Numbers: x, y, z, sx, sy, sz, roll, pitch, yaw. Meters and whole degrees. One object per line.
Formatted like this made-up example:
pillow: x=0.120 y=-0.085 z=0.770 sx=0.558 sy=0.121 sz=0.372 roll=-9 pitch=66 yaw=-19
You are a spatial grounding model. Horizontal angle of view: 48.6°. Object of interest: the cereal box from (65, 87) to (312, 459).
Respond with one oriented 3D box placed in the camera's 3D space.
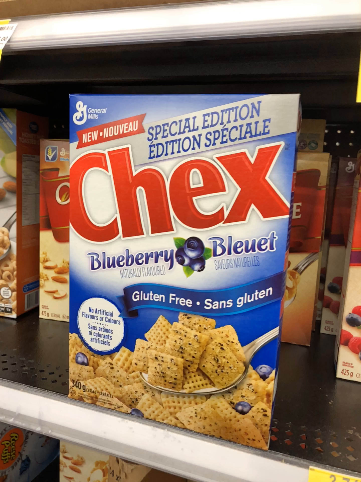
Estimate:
cereal box: x=-0.001 y=0.020 z=0.363 sx=0.200 sy=0.289 sz=0.060 roll=6 pitch=10 yaw=19
